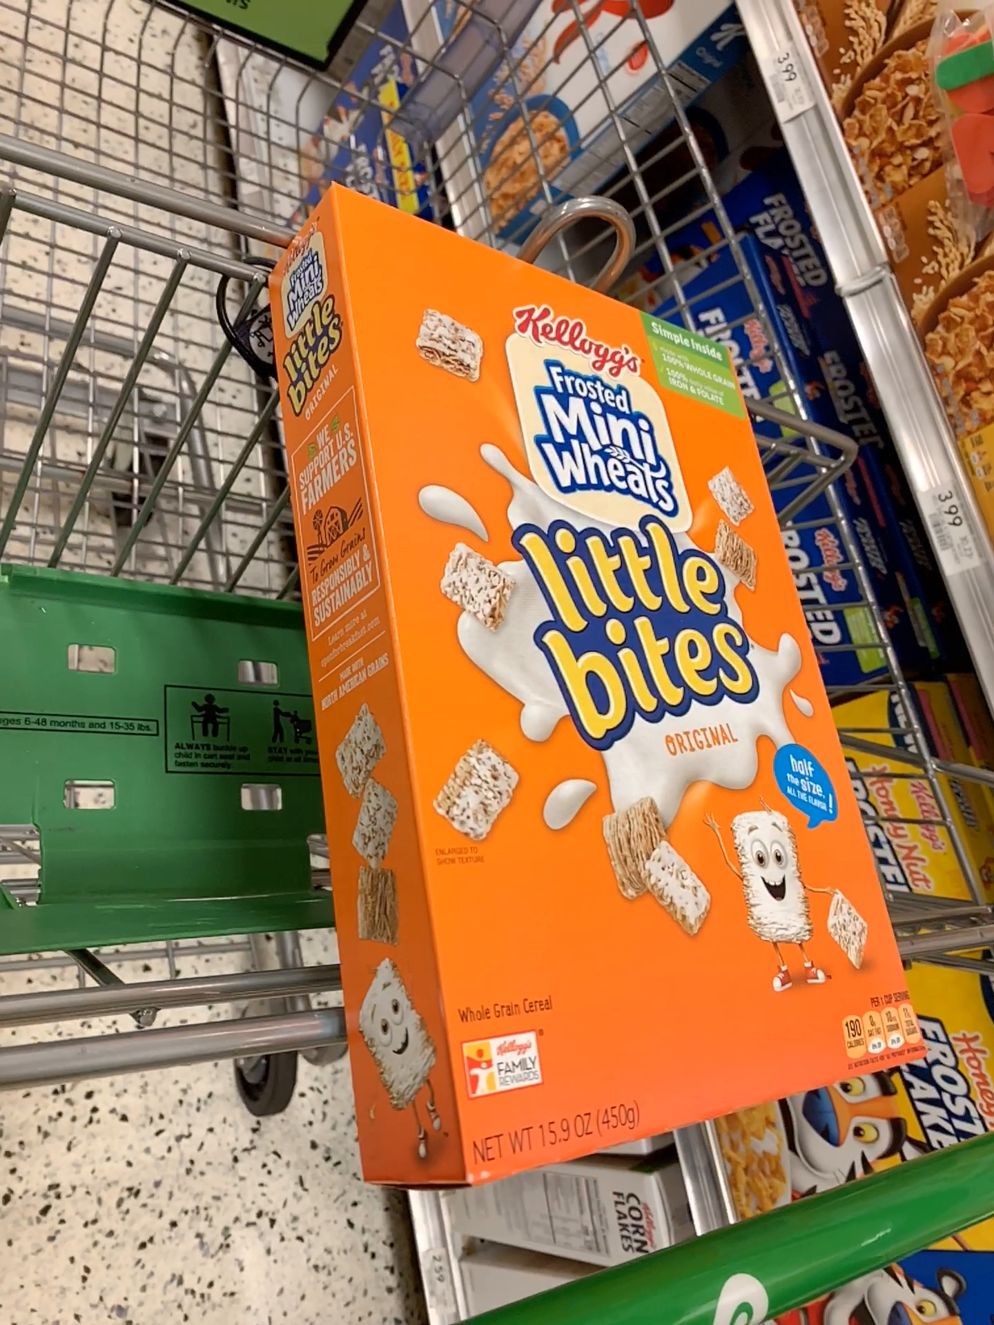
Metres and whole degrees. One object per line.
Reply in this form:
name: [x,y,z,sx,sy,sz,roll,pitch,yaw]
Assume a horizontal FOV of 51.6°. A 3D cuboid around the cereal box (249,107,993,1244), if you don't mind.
cereal box: [0.039,-0.008,0.354,0.211,0.059,0.321,6,64,-37]
